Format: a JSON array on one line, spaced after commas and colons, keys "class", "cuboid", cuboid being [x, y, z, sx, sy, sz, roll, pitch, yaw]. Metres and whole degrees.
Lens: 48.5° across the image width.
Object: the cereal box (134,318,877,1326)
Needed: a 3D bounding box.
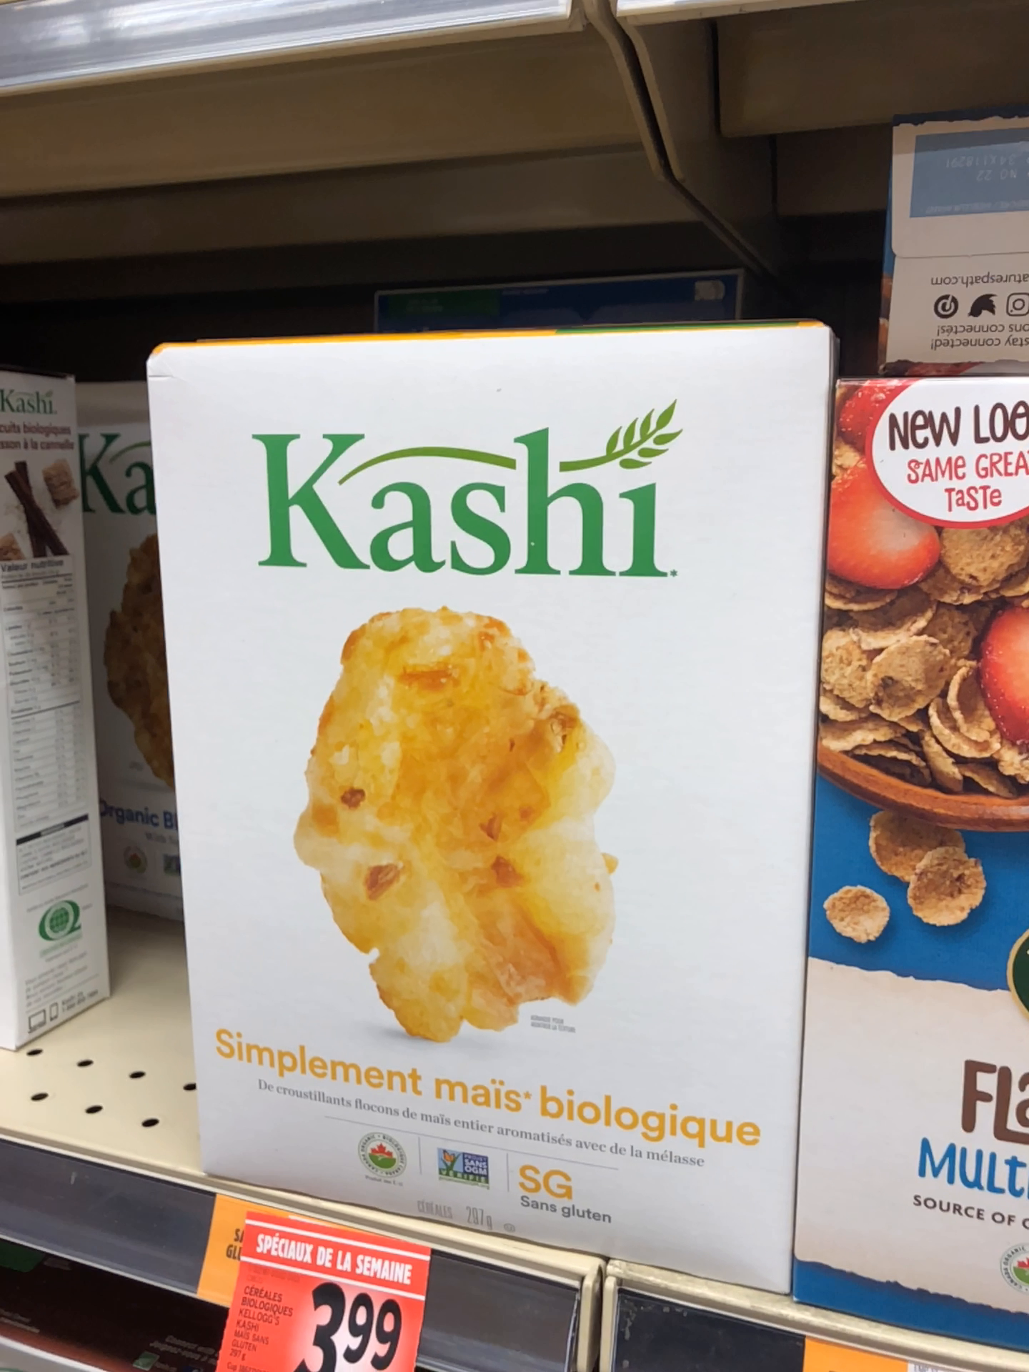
[{"class": "cereal box", "cuboid": [-0.002, 0.034, 0.349, 0.200, 0.269, 0.060, 3, 13, 18]}]
